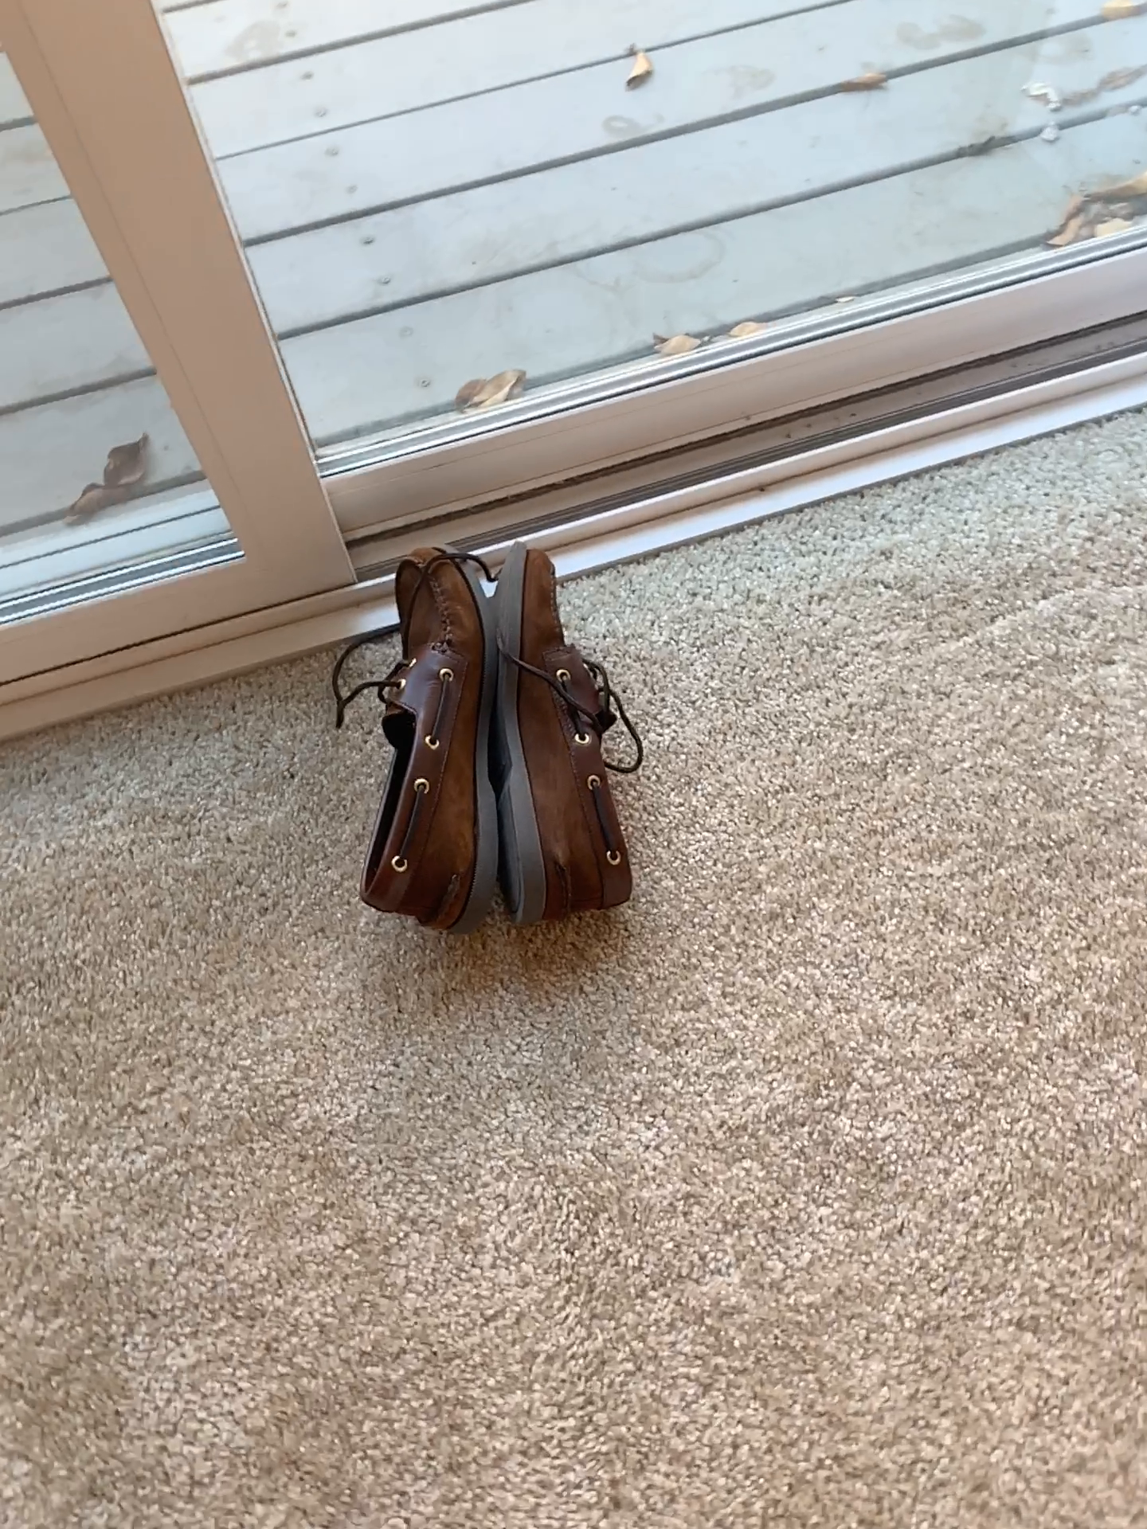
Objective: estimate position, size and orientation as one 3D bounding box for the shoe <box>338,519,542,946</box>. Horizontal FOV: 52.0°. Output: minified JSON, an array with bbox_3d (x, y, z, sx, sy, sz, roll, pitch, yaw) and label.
[{"bbox_3d":[-0.103,-0.026,0.834,0.090,0.110,0.281,1,60,-21],"label":"shoe"}]

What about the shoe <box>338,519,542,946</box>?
[{"bbox_3d":[-0.103,-0.026,0.834,0.090,0.110,0.281,1,60,-21],"label":"shoe"}]

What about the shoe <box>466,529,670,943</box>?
[{"bbox_3d":[-0.013,-0.024,0.830,0.090,0.110,0.271,-3,62,-13],"label":"shoe"}]
